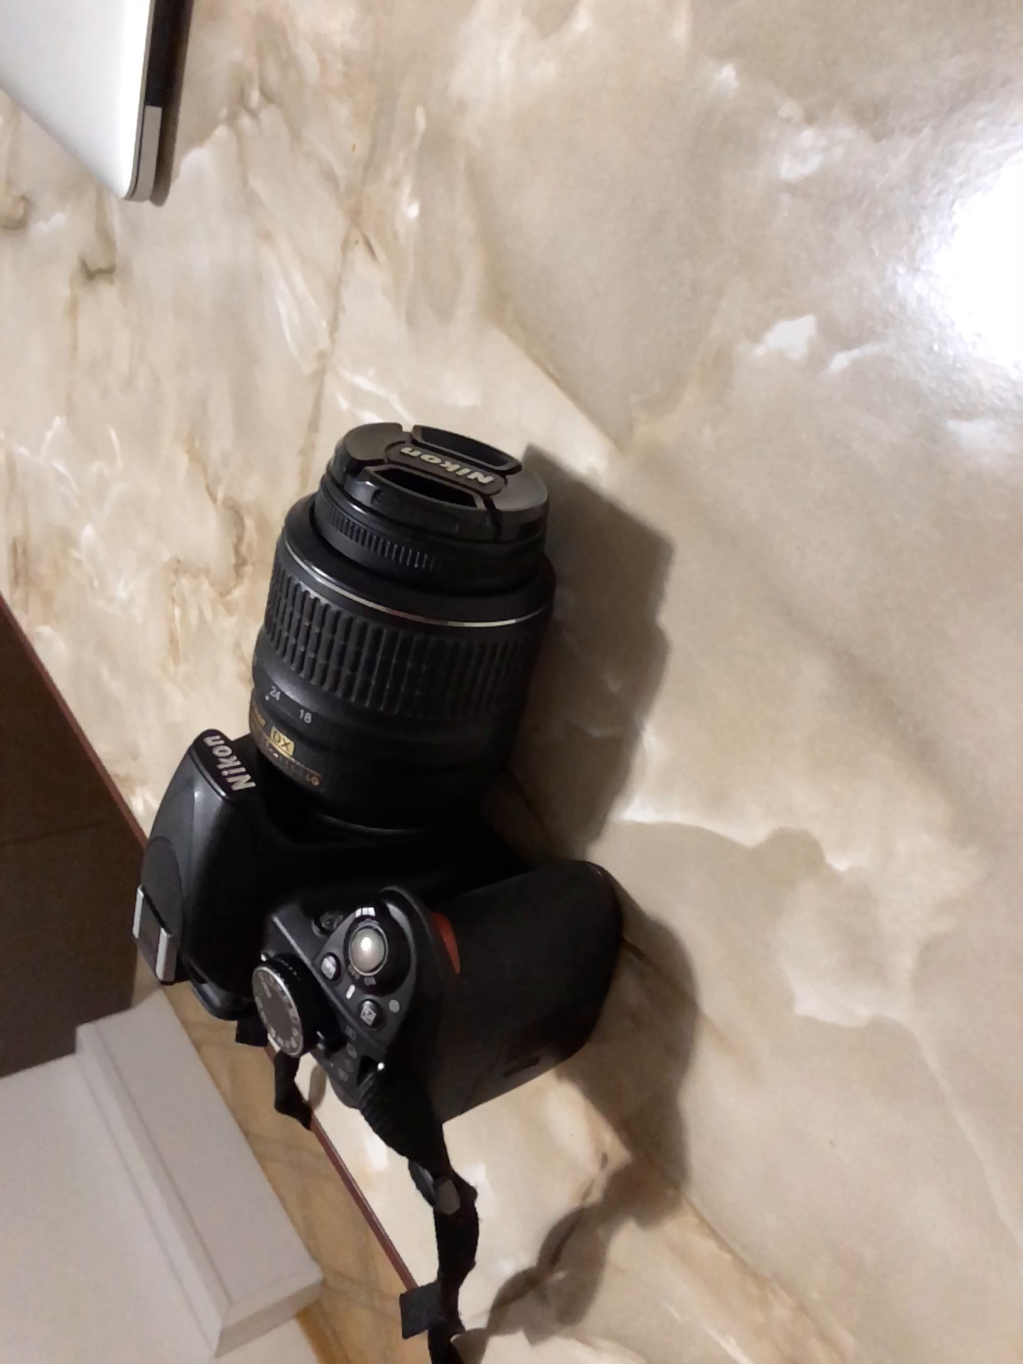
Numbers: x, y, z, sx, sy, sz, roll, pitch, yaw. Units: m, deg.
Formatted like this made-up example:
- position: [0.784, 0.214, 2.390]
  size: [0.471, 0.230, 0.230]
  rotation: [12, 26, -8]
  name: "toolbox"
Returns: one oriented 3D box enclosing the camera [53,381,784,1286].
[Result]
- position: [-0.039, 0.027, 0.281]
  size: [0.126, 0.099, 0.160]
  rotation: [42, 128, 39]
  name: "camera"
